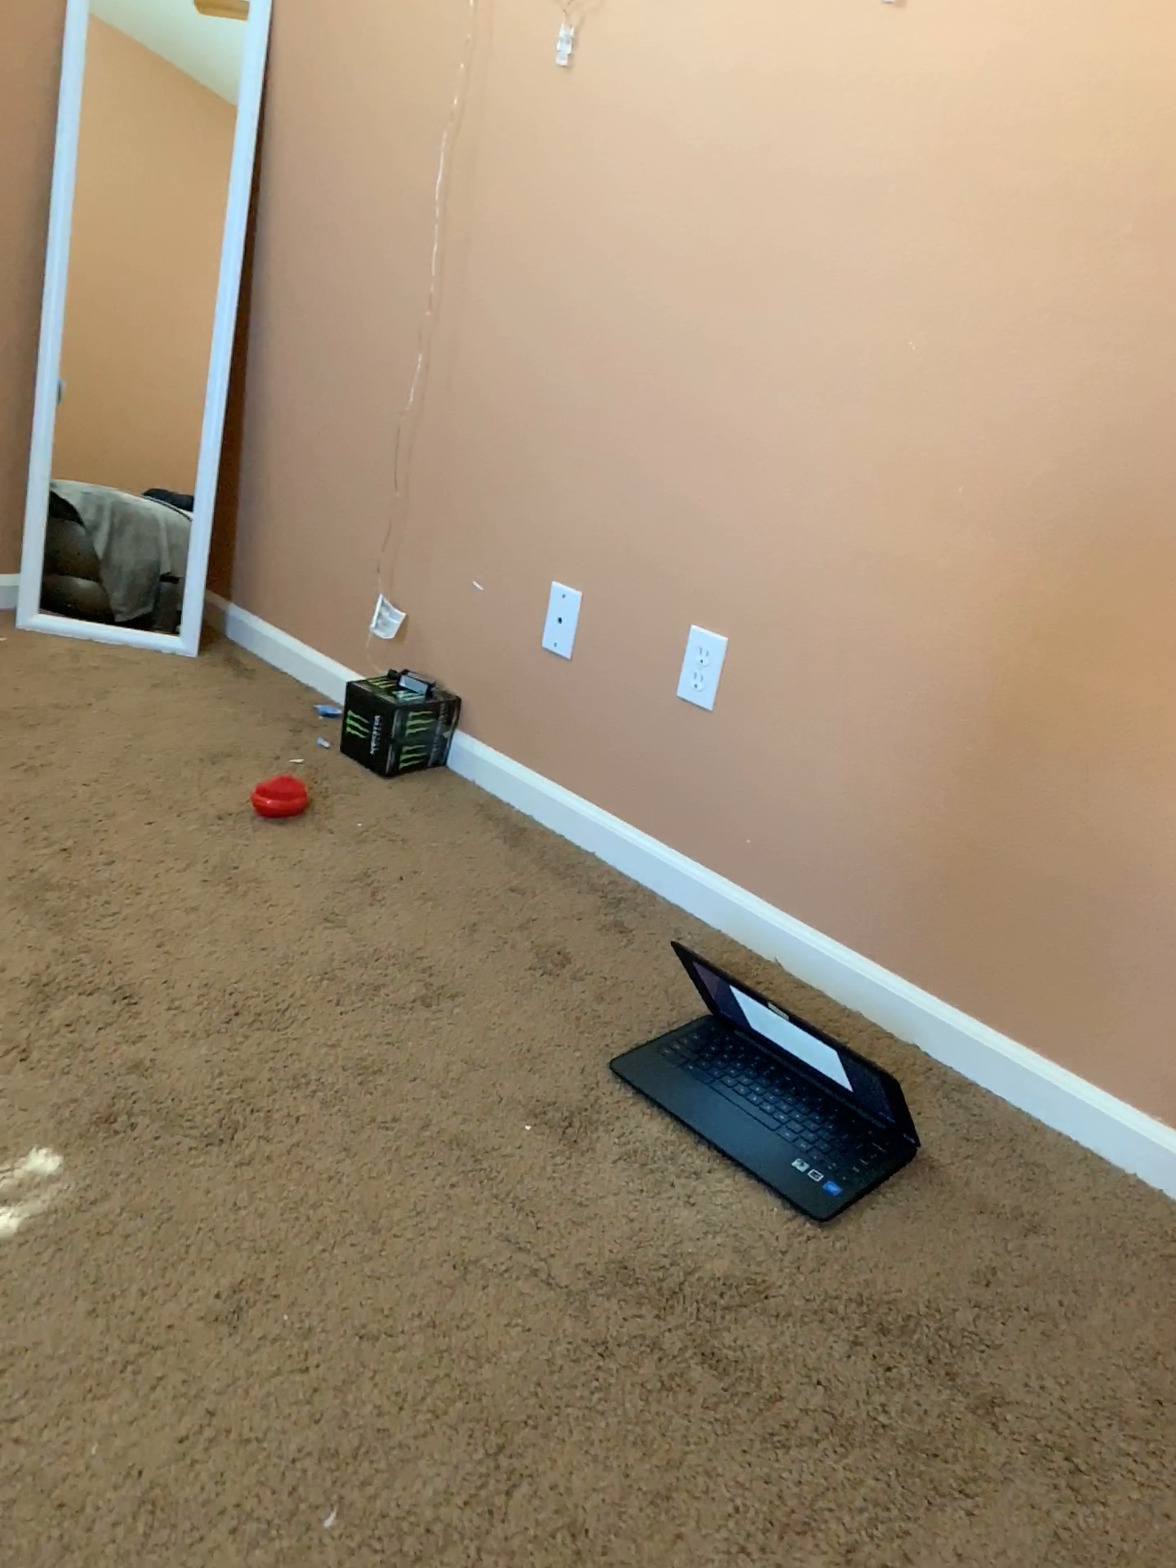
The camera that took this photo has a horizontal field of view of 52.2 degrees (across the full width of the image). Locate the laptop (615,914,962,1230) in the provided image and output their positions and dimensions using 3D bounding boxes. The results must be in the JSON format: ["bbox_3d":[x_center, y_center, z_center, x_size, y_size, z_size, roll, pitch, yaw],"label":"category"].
[{"bbox_3d":[0.210,0.293,1.291,0.292,0.140,0.192,29,28,37],"label":"laptop"}]
